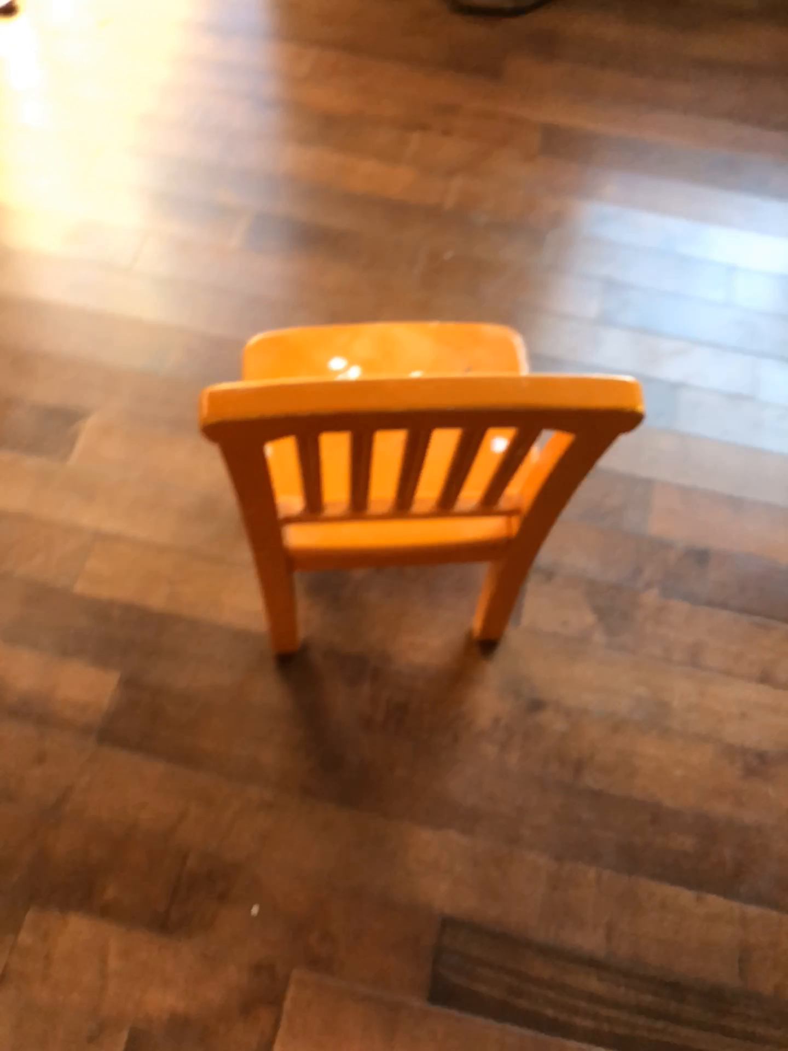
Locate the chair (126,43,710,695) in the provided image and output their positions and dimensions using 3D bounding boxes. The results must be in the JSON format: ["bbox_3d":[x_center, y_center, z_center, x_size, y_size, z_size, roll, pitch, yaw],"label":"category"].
[{"bbox_3d":[-0.004,-0.096,0.875,0.360,0.569,0.350,-2,62,-4],"label":"chair"}]
